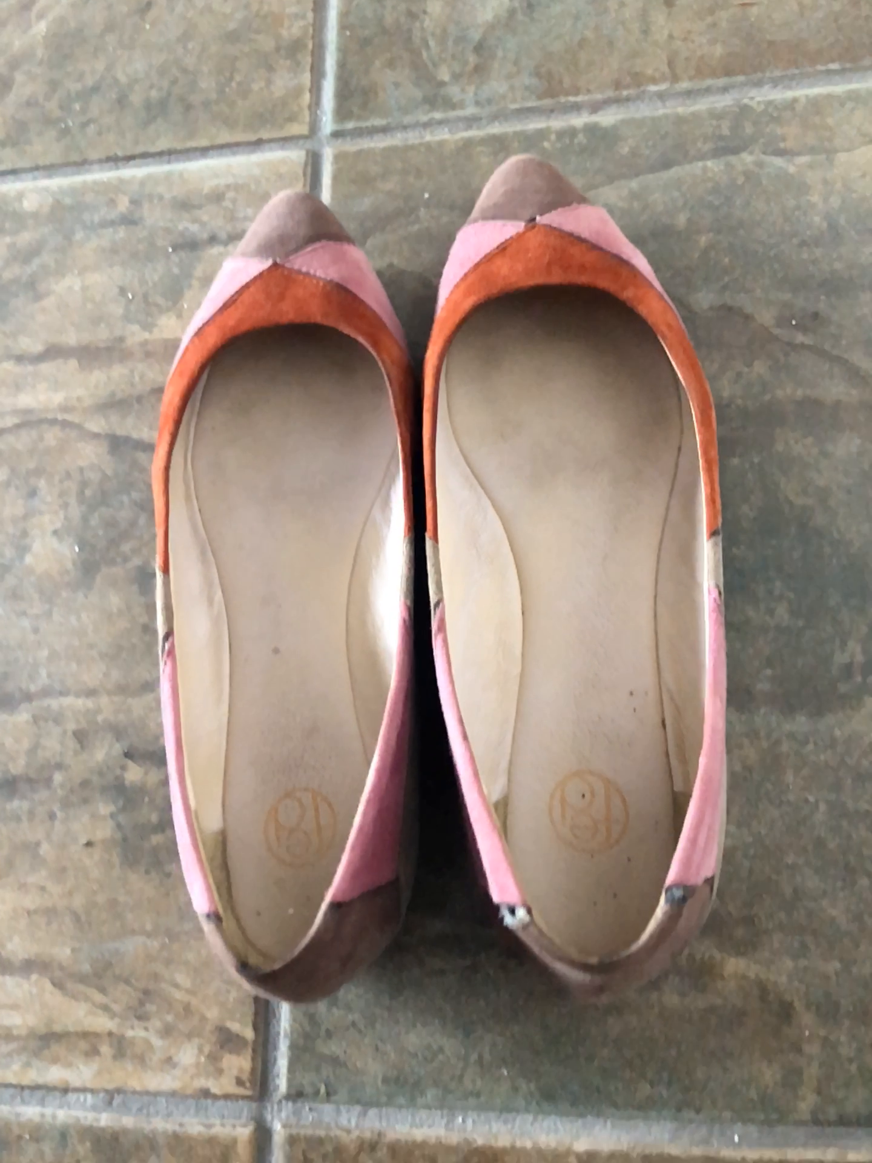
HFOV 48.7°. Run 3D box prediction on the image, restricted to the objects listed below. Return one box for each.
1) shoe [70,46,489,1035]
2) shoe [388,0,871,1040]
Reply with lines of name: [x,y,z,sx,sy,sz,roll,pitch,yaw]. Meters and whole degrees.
shoe: [-0.043,-0.018,0.291,0.090,0.070,0.270,-6,73,9]
shoe: [0.042,-0.027,0.267,0.090,0.070,0.270,-5,73,9]
